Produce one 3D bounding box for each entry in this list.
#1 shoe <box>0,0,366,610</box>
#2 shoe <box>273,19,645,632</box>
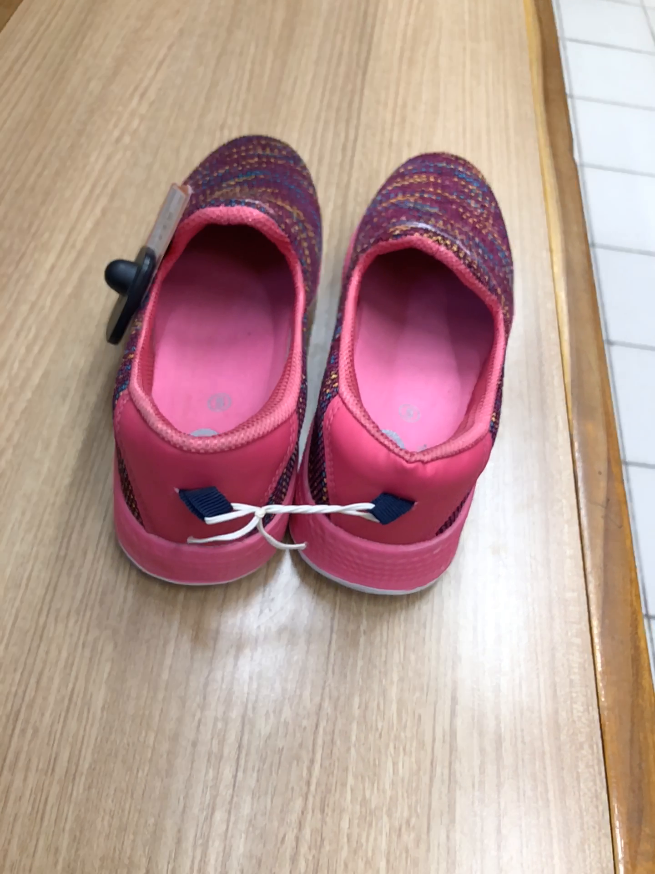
[{"bbox_3d":[-0.046,-0.066,0.313,0.105,0.103,0.245,6,56,-3],"label":"shoe"},{"bbox_3d":[0.054,-0.059,0.321,0.105,0.103,0.245,11,56,0],"label":"shoe"}]
